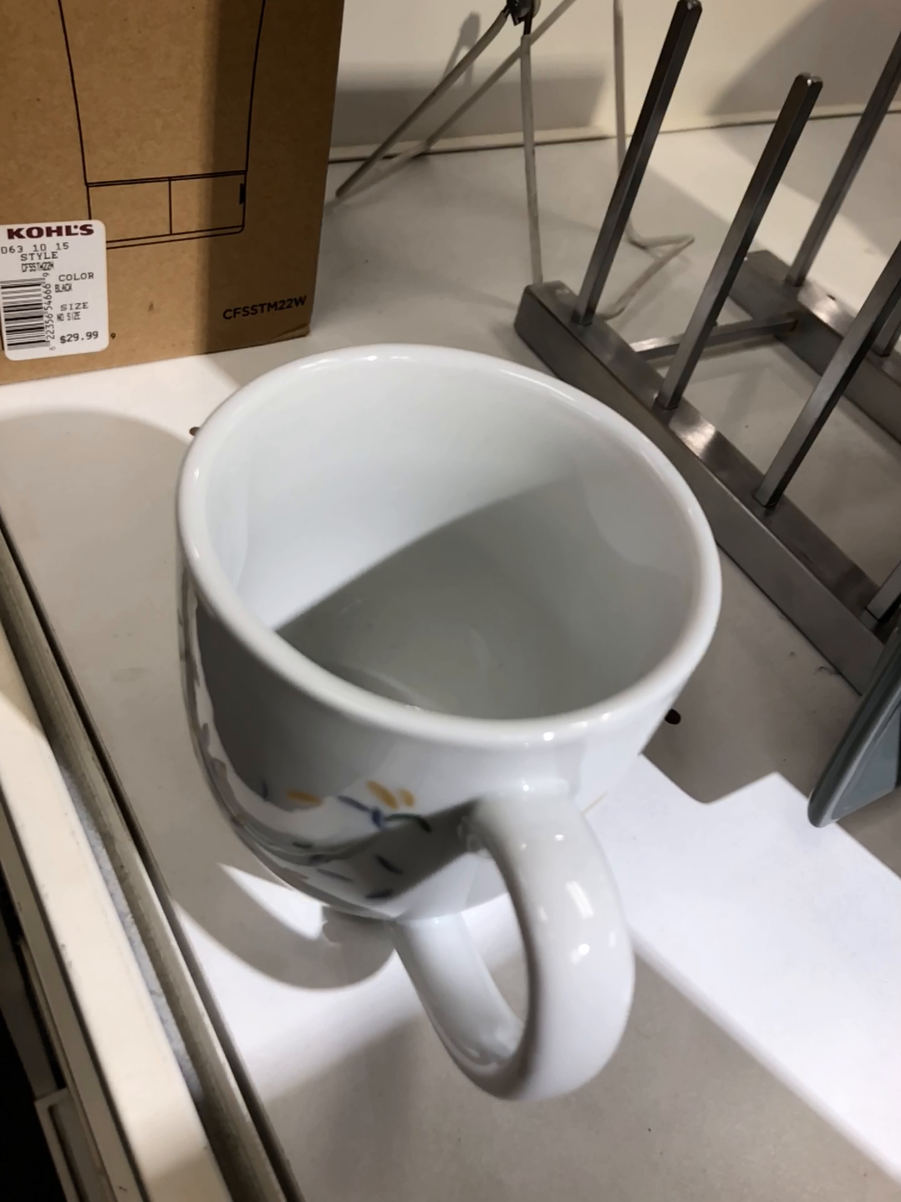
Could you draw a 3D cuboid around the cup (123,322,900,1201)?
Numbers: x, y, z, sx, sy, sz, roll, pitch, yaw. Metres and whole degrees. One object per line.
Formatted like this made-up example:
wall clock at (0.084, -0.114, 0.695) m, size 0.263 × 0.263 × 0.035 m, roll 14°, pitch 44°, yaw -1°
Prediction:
cup at (-0.002, 0.025, 0.191) m, size 0.093 × 0.091 × 0.127 m, roll -9°, pitch 52°, yaw -22°
